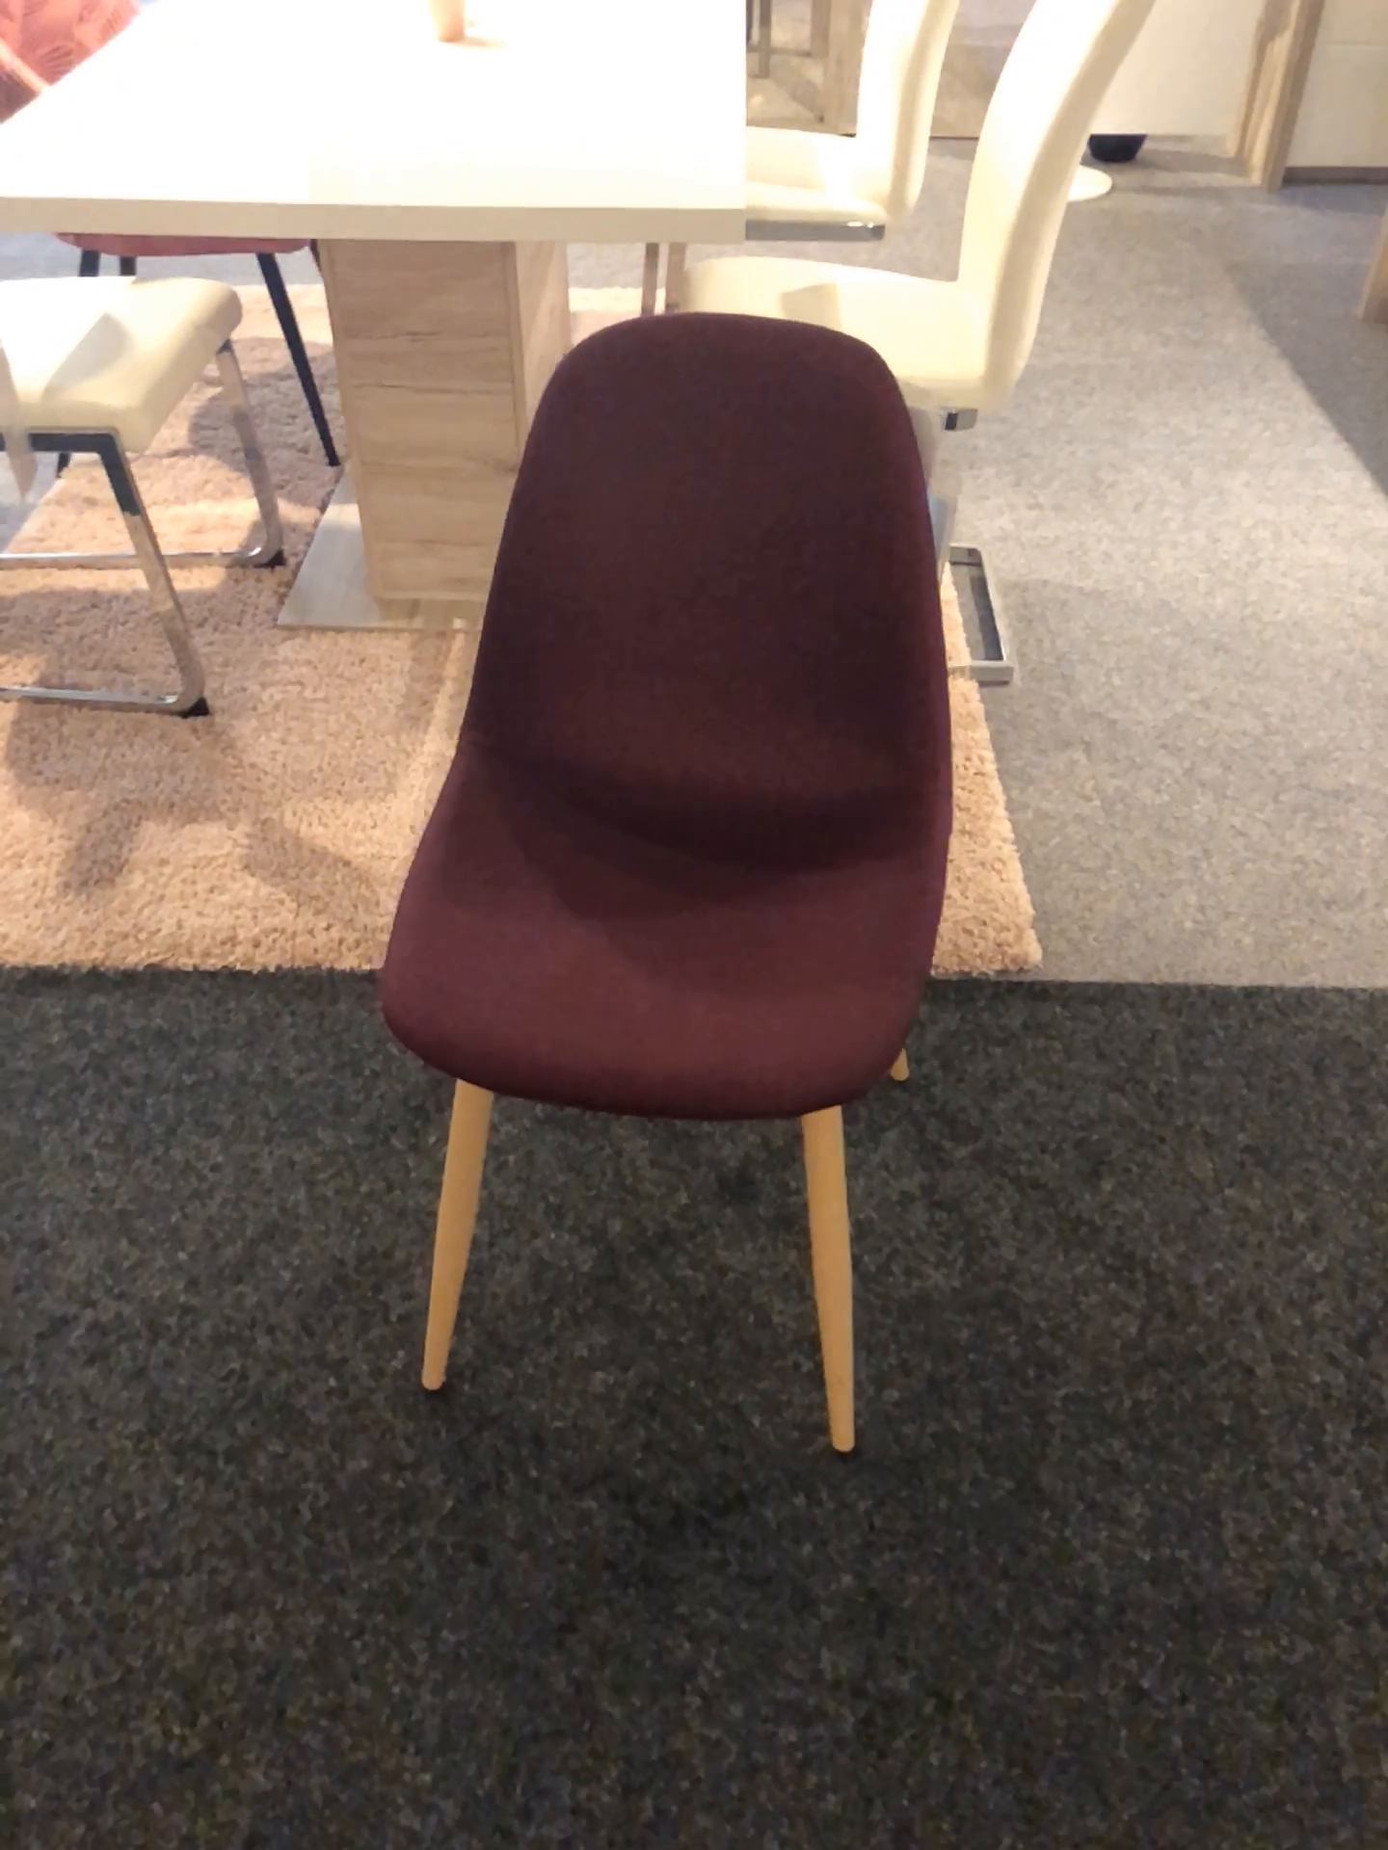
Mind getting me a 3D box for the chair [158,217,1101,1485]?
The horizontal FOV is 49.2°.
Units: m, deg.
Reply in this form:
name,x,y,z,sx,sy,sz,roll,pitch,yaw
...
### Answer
name,x,y,z,sx,sy,sz,roll,pitch,yaw
chair,-0.005,-0.051,1.221,0.470,0.795,0.574,5,41,5
